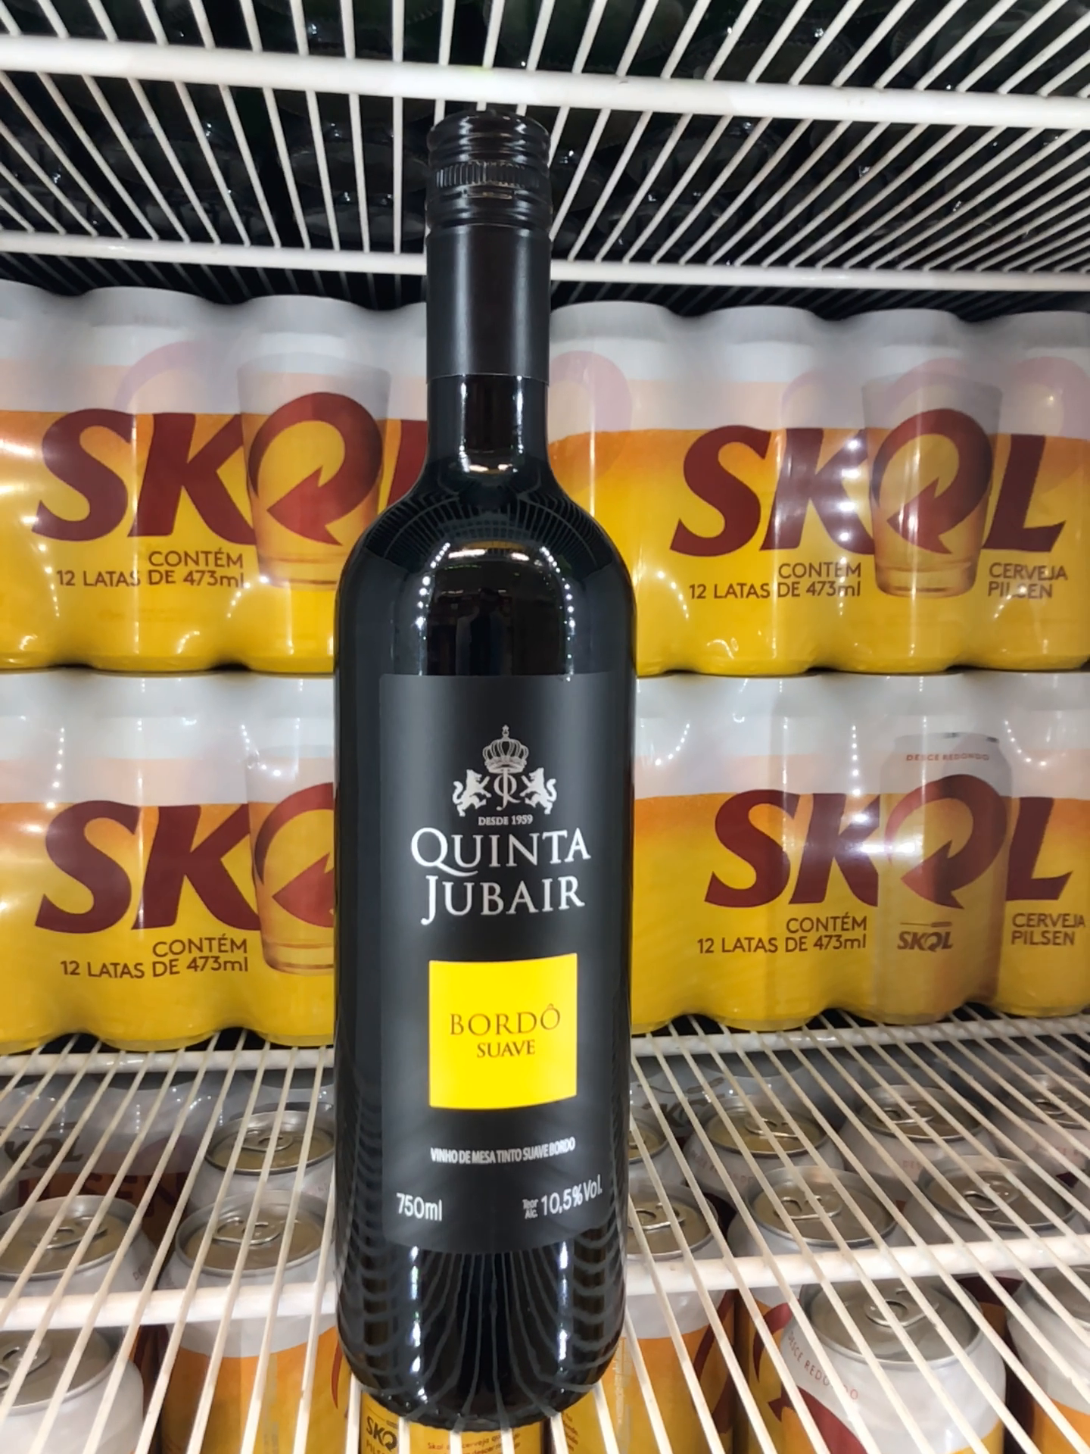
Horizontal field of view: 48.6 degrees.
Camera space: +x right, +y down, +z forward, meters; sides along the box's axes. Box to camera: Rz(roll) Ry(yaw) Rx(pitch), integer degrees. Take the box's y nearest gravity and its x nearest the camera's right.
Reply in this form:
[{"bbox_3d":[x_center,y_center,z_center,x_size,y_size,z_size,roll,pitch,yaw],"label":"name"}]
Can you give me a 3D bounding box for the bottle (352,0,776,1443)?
[{"bbox_3d":[0.001,-0.001,0.274,0.080,0.289,0.070,0,5,-5],"label":"bottle"}]
